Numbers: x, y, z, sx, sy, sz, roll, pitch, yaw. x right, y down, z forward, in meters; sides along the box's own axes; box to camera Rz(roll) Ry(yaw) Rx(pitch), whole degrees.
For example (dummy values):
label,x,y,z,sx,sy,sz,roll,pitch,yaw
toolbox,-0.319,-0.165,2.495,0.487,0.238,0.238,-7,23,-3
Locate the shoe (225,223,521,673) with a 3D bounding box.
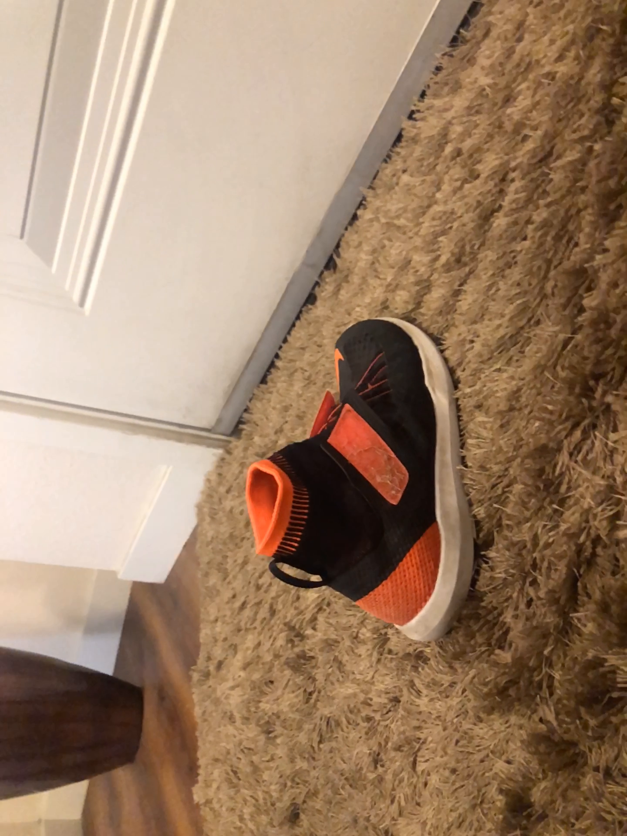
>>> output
label,x,y,z,sx,sy,sz,roll,pitch,yaw
shoe,0.022,0.015,0.512,0.110,0.139,0.303,127,146,-46
